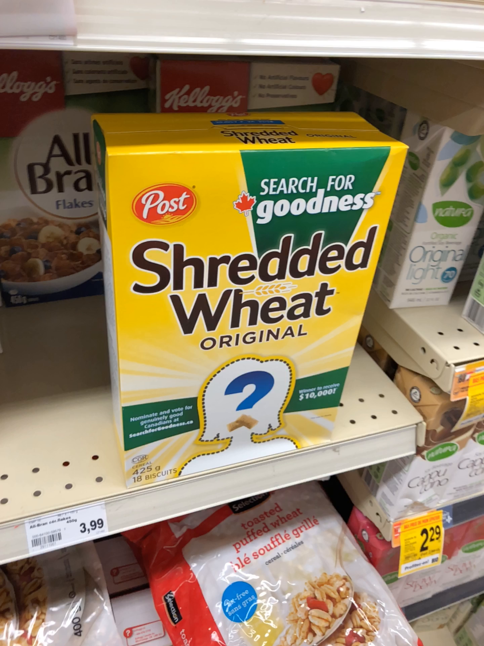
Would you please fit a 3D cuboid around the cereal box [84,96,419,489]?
[{"bbox_3d":[-0.004,-0.017,0.425,0.200,0.288,0.081,-9,37,-19],"label":"cereal box"}]
